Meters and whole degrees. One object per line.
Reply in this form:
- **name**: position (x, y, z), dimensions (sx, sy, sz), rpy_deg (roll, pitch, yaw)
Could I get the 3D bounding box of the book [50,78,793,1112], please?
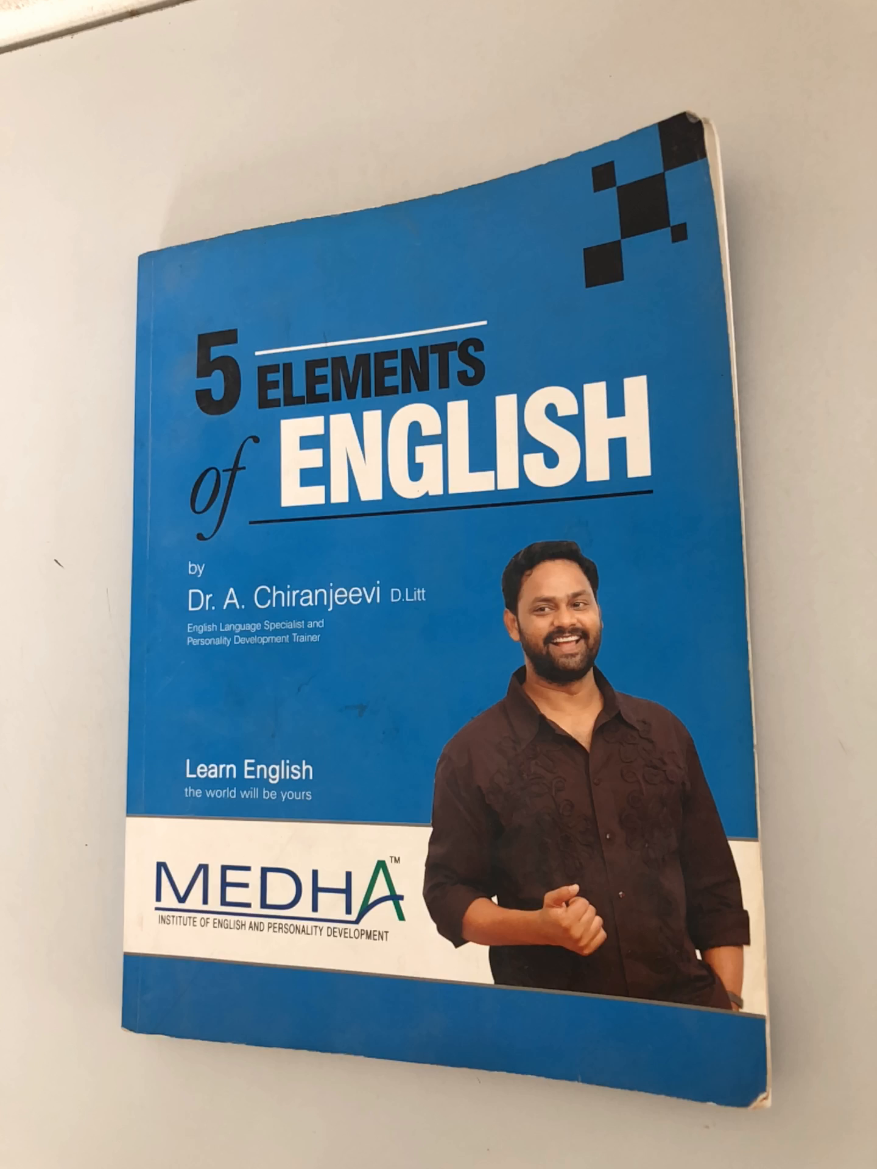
- **book**: position (-0.015, 0.002, 0.244), dimensions (0.180, 0.020, 0.220), rpy_deg (-4, 83, 19)
